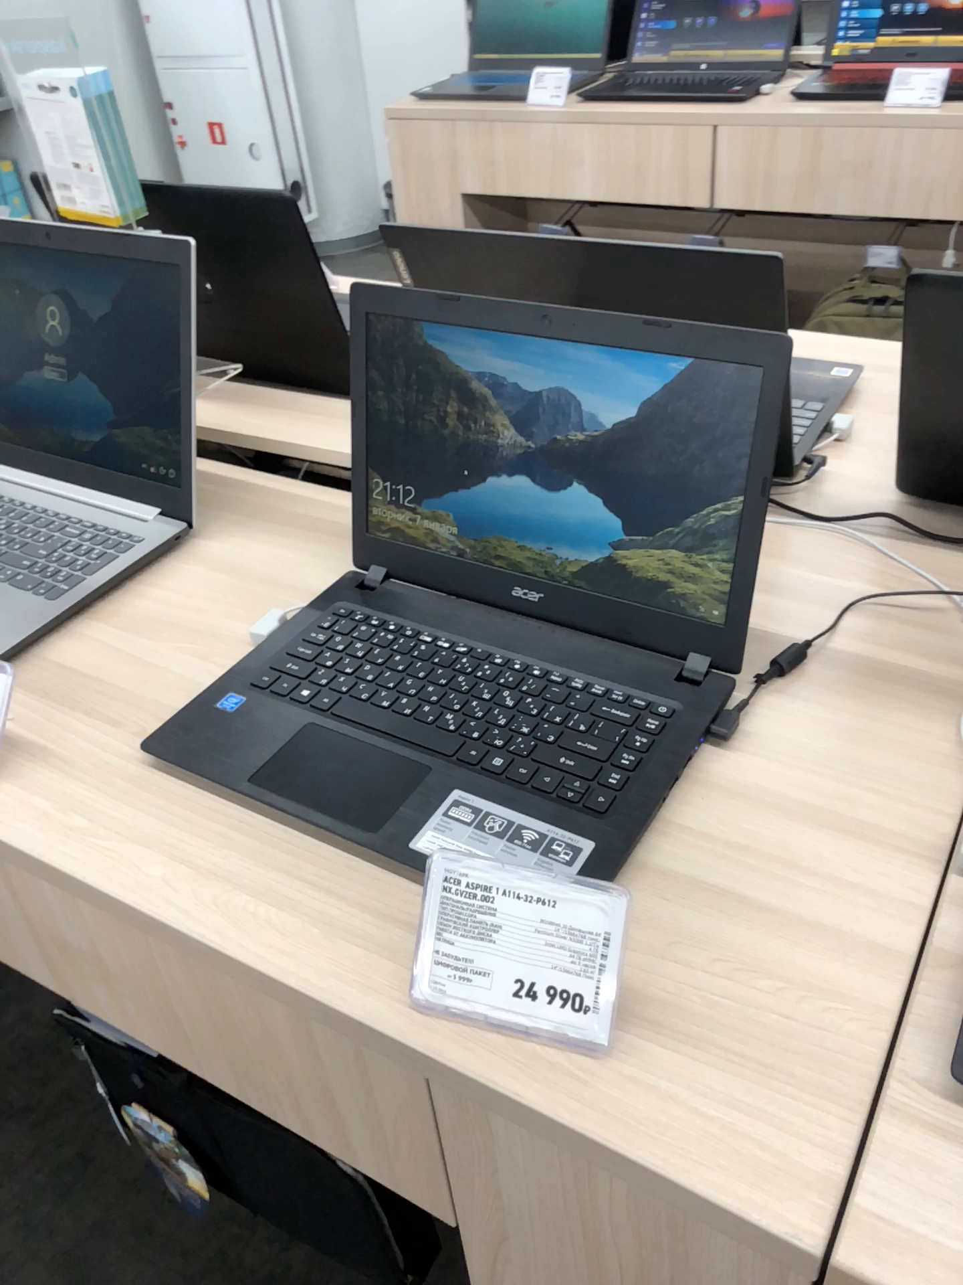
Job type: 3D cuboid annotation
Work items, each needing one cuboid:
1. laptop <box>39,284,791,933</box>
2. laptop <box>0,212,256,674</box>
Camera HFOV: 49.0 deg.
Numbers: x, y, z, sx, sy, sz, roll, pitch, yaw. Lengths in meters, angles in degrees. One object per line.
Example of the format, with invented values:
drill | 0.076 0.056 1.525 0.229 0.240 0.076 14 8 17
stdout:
laptop | -0.023 -0.058 0.695 0.343 0.223 0.303 16 42 28
laptop | -0.484 -0.205 0.945 0.363 0.236 0.339 17 43 30
